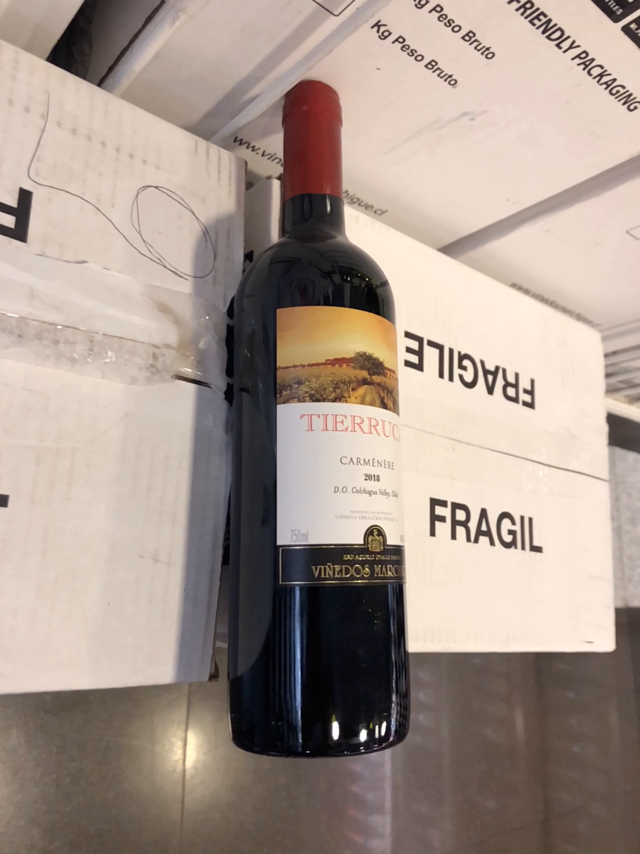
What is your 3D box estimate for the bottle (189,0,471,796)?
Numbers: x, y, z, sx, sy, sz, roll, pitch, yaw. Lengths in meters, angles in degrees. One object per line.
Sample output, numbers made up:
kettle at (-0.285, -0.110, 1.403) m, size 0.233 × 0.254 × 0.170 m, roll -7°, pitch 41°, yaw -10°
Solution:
bottle at (0.002, -0.025, 0.320) m, size 0.080 × 0.079 × 0.320 m, roll 10°, pitch 74°, yaw -39°
